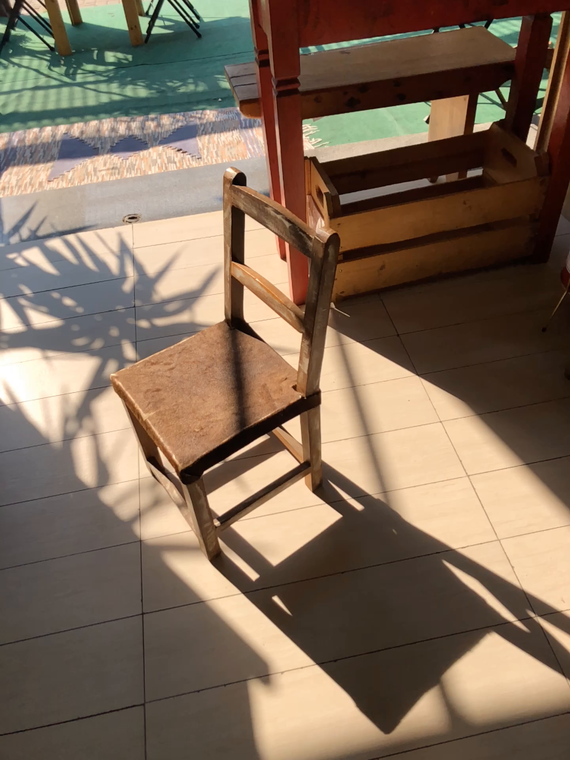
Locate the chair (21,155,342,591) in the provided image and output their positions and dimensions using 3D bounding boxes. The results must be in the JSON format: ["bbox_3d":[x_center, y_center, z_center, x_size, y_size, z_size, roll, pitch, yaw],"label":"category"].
[{"bbox_3d":[-0.131,0.006,1.063,0.341,0.596,0.301,-27,48,-21],"label":"chair"}]
